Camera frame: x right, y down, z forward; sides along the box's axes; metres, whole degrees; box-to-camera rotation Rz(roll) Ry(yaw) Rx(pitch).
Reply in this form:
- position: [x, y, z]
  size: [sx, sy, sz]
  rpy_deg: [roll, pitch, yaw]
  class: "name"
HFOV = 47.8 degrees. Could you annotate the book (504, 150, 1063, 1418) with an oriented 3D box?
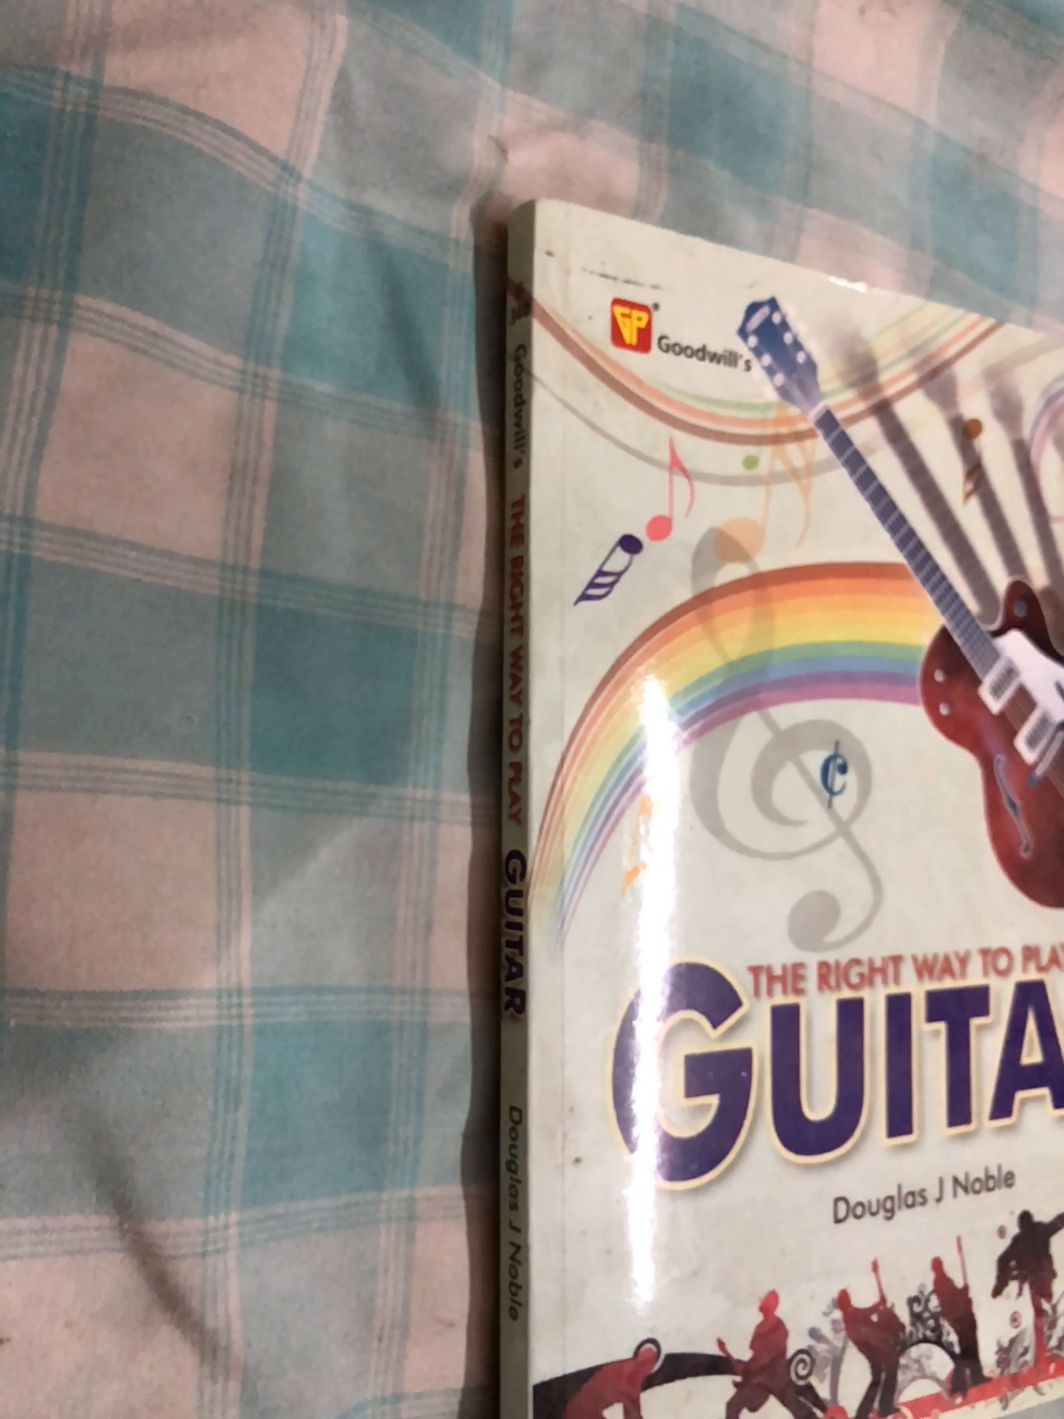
- position: [0.082, 0.030, 0.247]
  size: [0.181, 0.030, 0.240]
  rpy_deg: [3, 84, -28]
  class: "book"
